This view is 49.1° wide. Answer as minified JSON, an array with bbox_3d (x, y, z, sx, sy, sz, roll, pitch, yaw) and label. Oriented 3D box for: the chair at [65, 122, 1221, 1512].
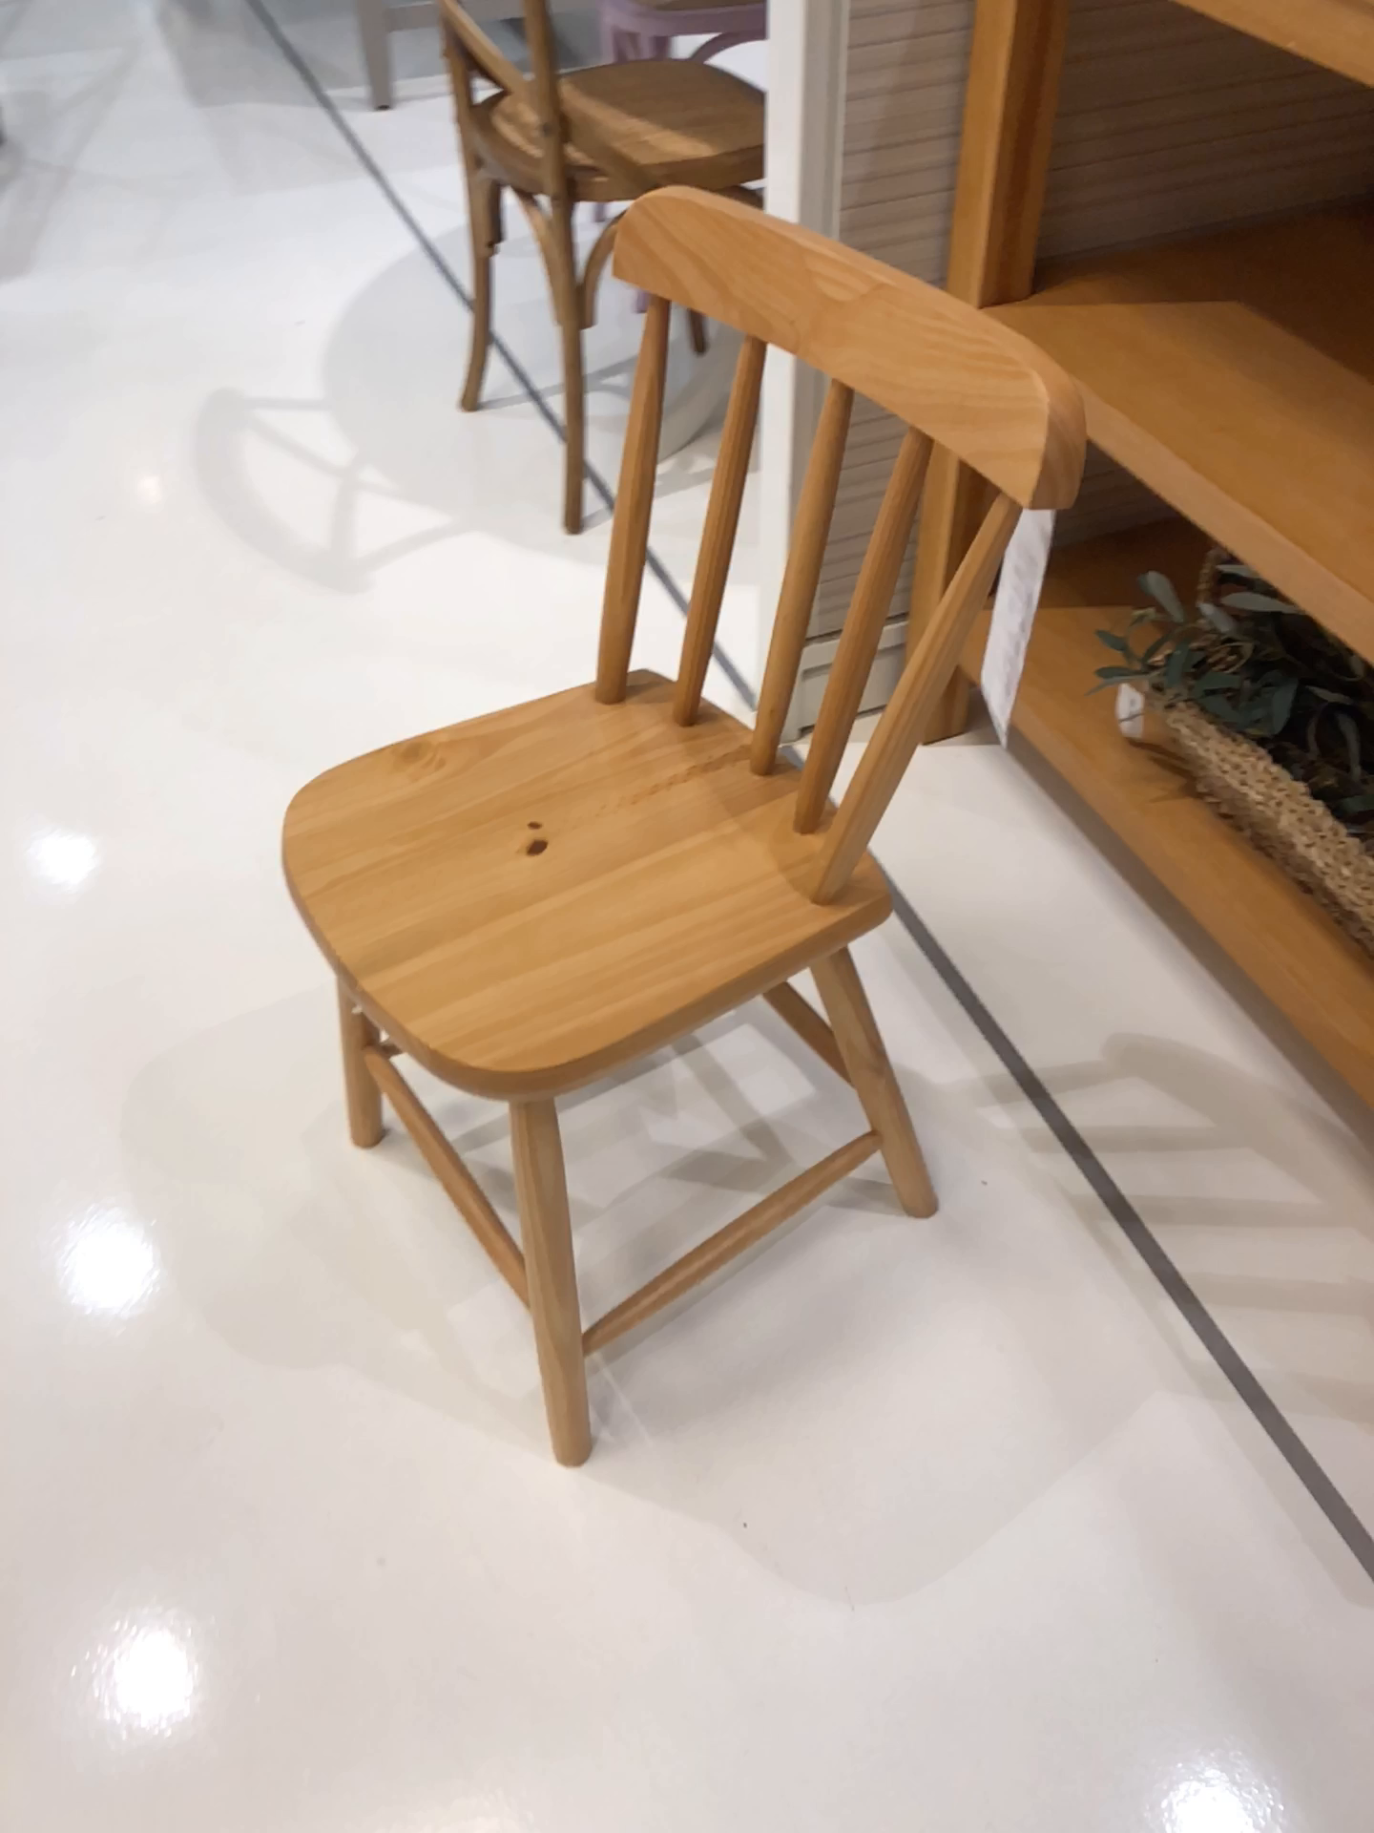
[{"bbox_3d":[-0.029,-0.046,1.052,0.451,0.754,0.422,-26,49,-22],"label":"chair"}]
